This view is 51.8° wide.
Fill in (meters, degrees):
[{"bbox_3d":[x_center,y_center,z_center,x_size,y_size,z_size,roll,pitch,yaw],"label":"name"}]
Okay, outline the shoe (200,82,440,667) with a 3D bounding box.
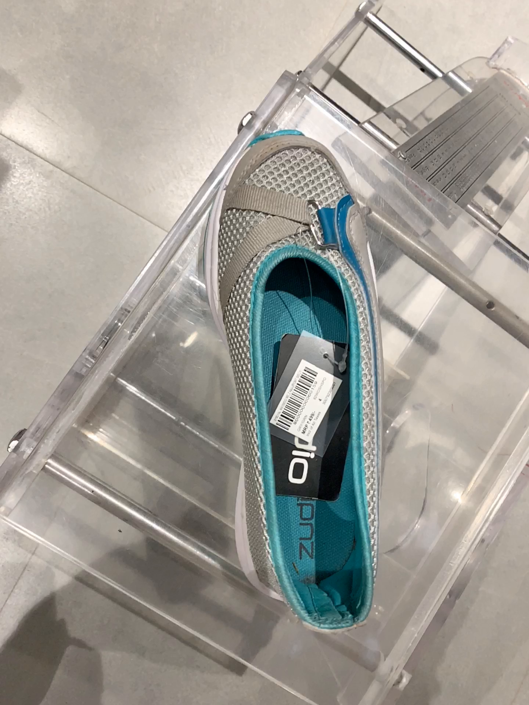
[{"bbox_3d":[0.025,0.008,0.298,0.090,0.080,0.270,-5,92,-11],"label":"shoe"}]
